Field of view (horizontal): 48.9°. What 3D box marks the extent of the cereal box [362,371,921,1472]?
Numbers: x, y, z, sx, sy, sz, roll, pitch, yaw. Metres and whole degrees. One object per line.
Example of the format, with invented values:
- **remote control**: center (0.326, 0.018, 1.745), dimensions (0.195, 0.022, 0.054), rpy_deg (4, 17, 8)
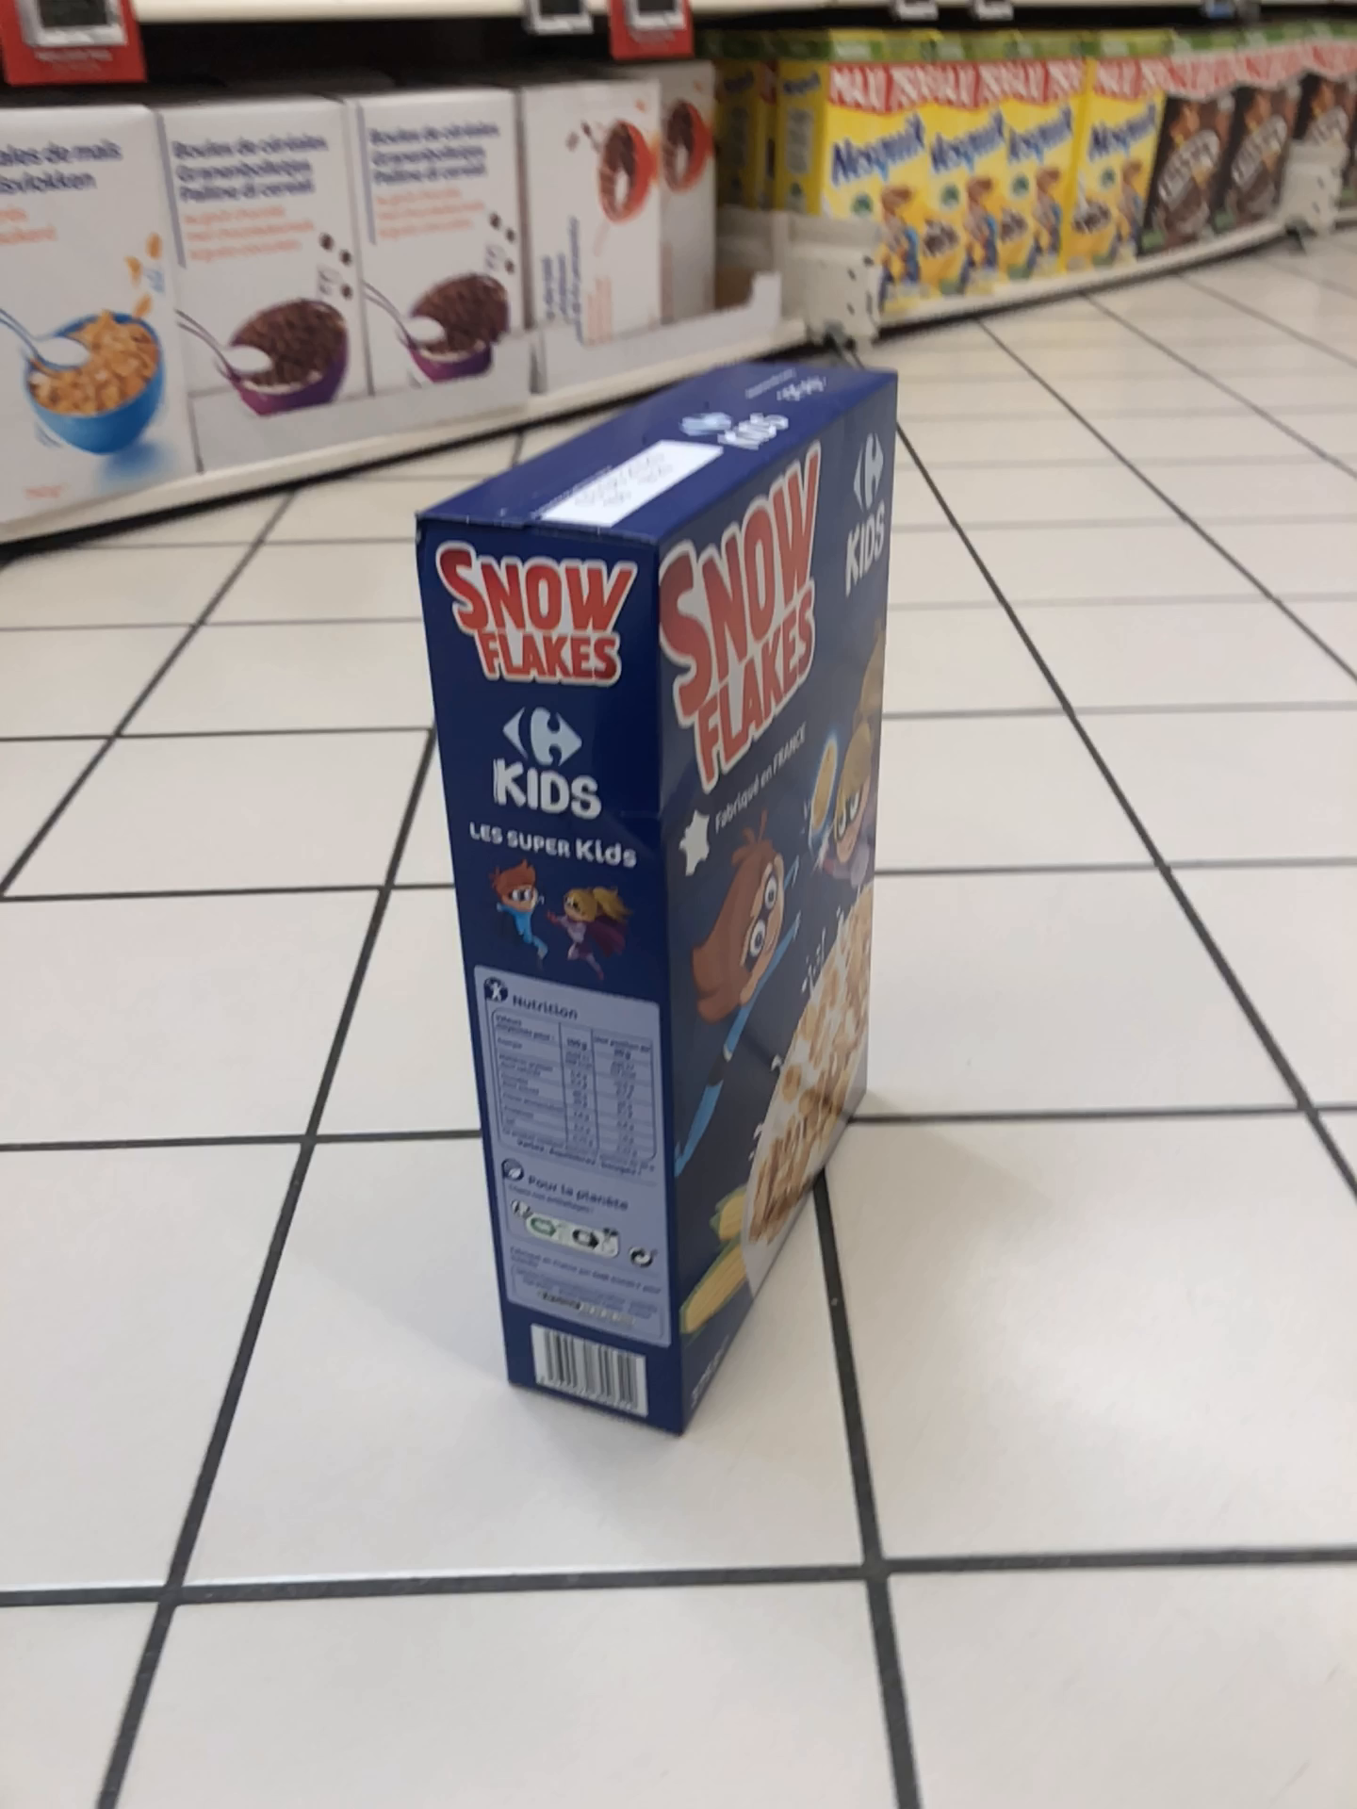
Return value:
- **cereal box**: center (0.005, -0.003, 0.488), dimensions (0.080, 0.288, 0.201), rpy_deg (11, 32, 21)
